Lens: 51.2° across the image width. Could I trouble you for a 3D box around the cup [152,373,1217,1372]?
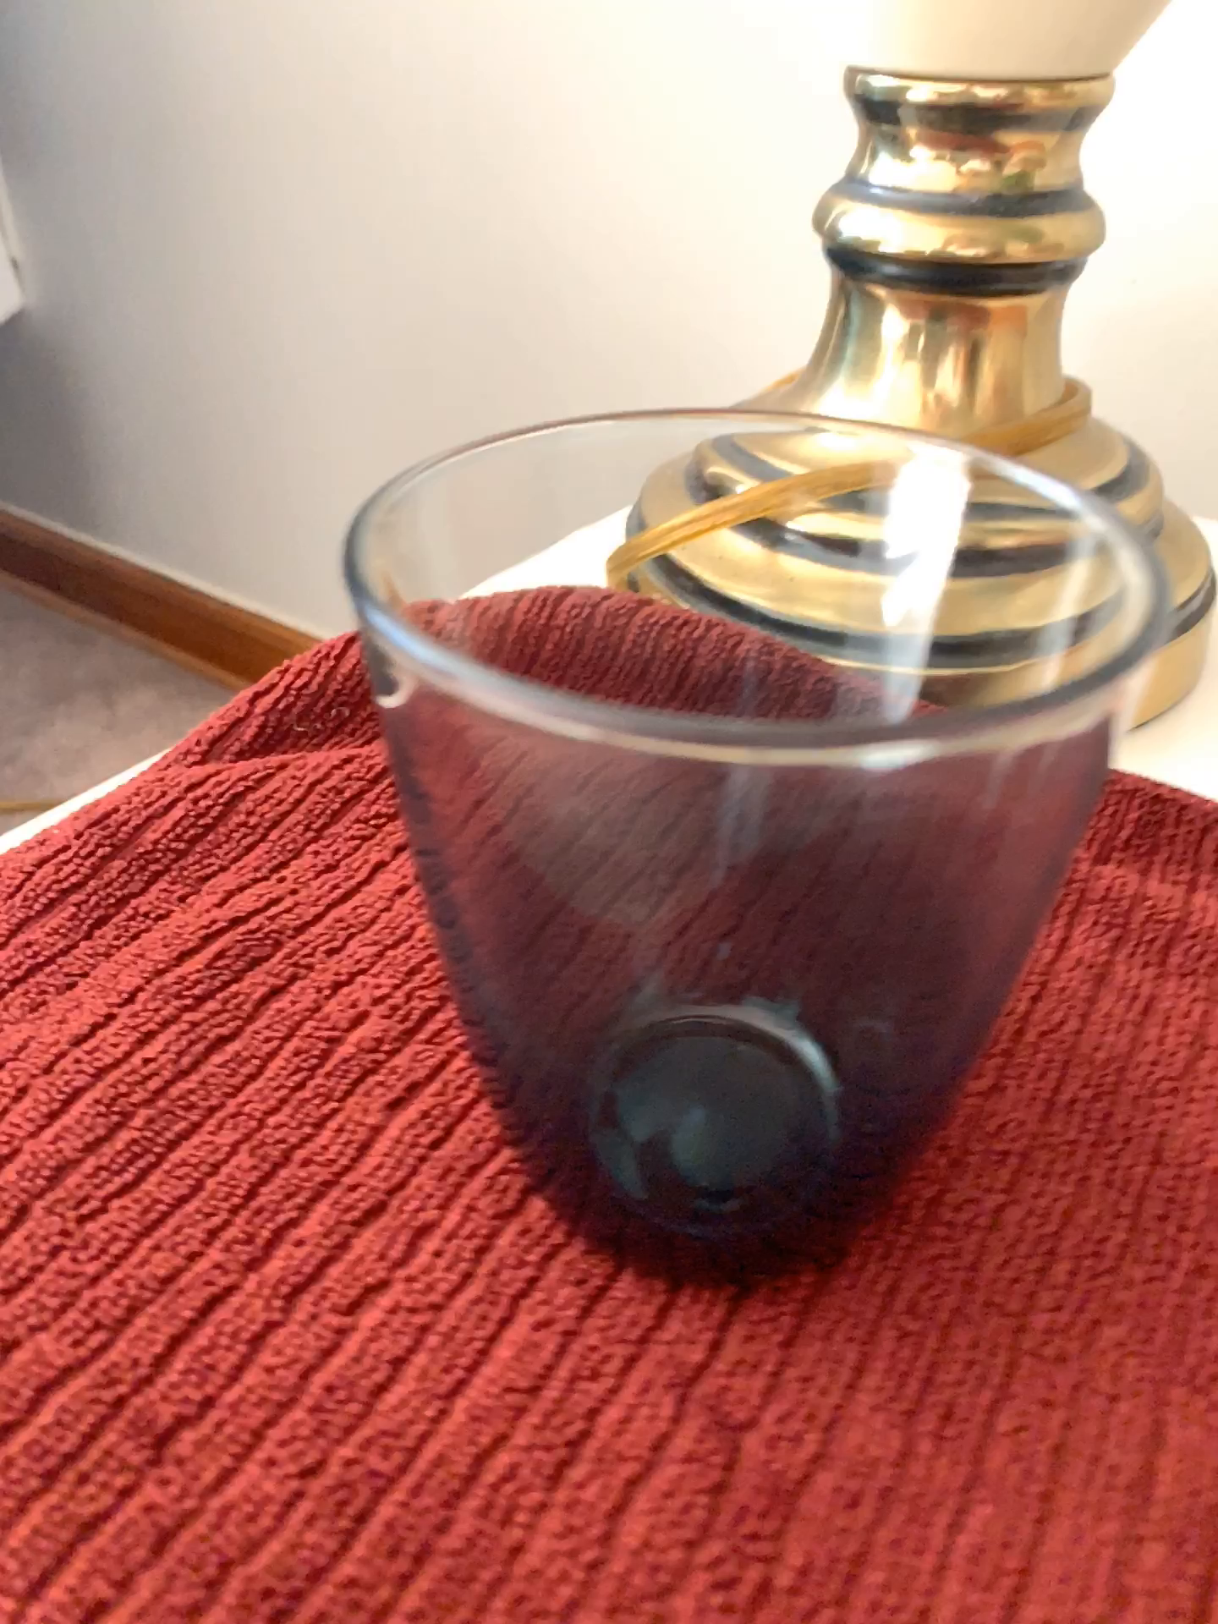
[{"bbox_3d":[0.013,-0.002,0.149,0.086,0.070,0.084,1,33,-1],"label":"cup"}]
